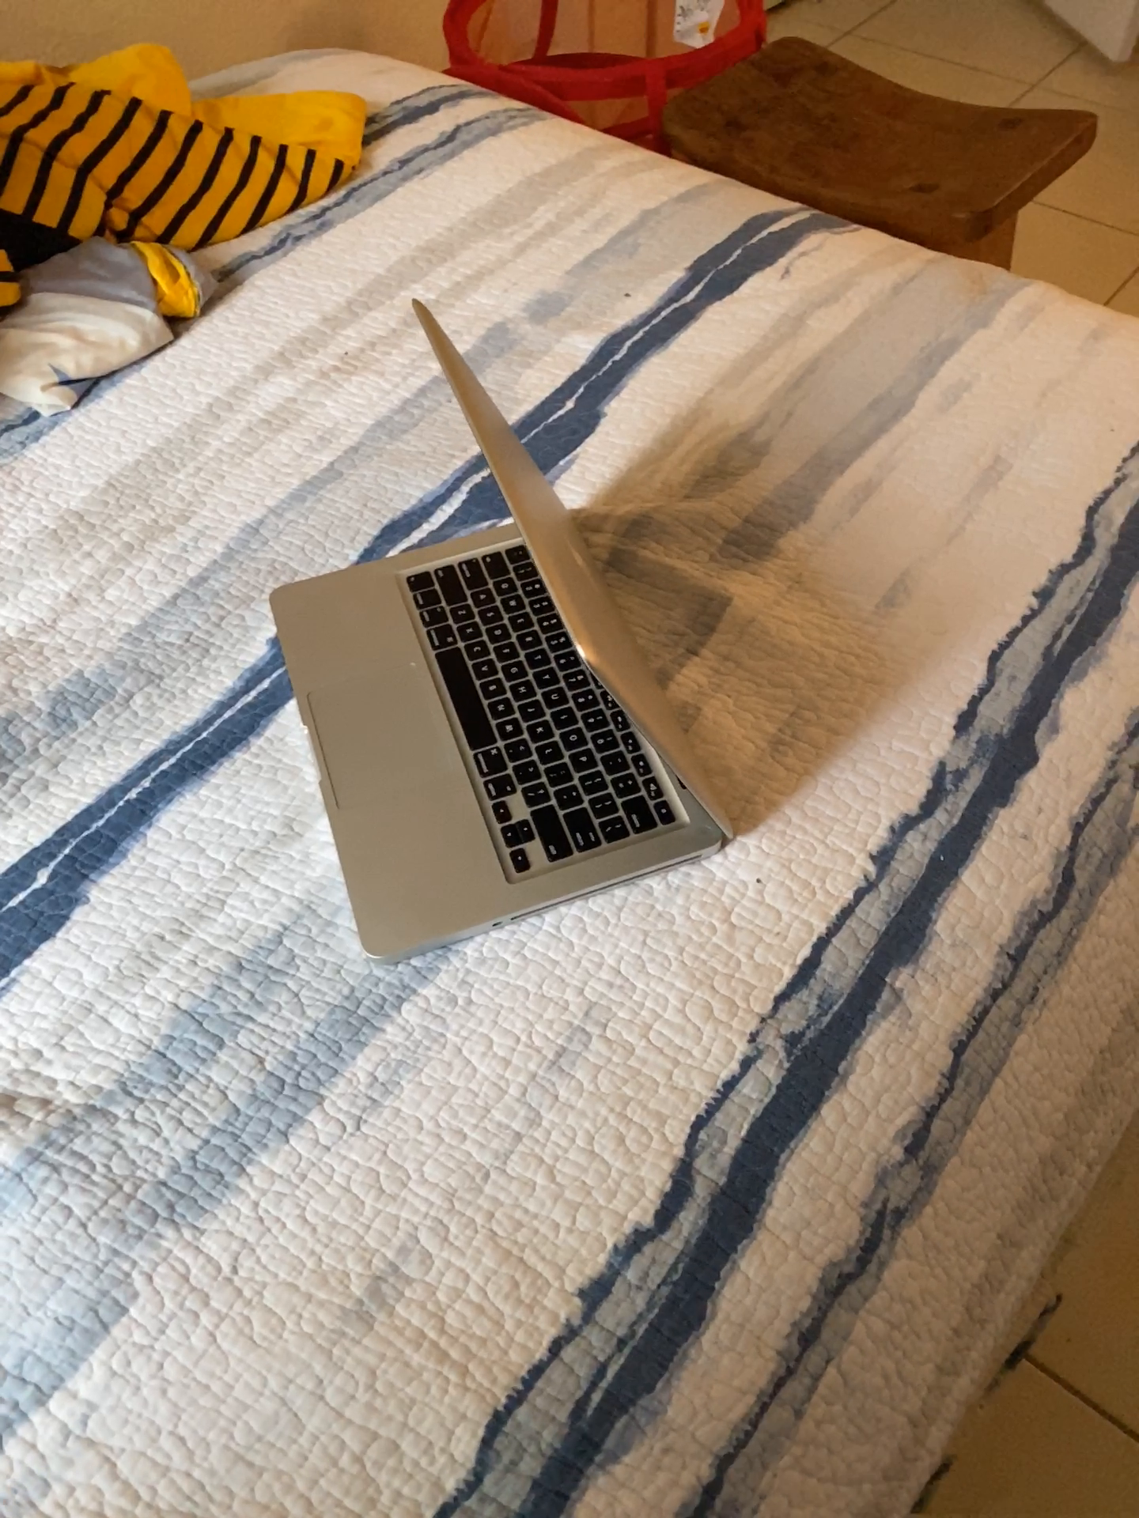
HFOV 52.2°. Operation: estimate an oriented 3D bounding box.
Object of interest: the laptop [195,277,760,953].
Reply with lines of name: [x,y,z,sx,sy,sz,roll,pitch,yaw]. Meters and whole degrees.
laptop: [-0.065,-0.095,0.694,0.220,0.191,0.316,-17,53,-9]
